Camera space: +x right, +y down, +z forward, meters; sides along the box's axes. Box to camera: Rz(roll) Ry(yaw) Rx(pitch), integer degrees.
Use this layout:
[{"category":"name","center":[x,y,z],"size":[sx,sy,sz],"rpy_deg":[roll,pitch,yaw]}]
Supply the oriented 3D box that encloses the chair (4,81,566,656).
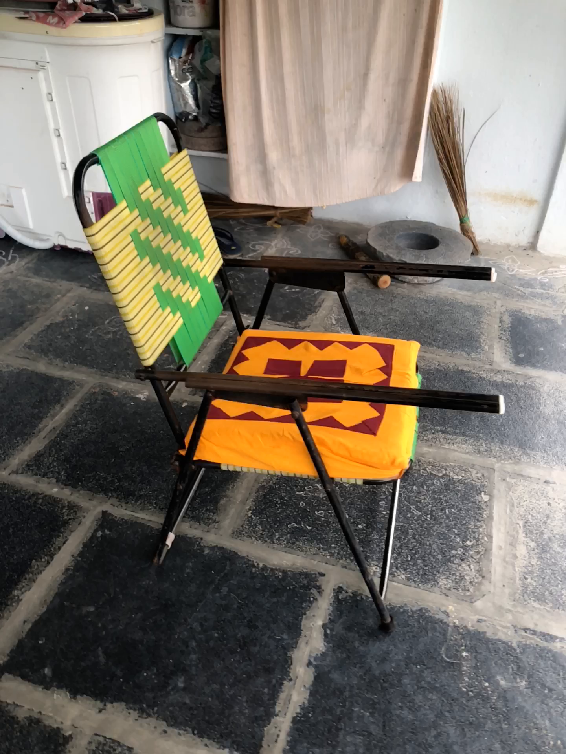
[{"category":"chair","center":[0.048,-0.055,1.233],"size":[0.680,0.825,0.664],"rpy_deg":[8,37,11]}]
